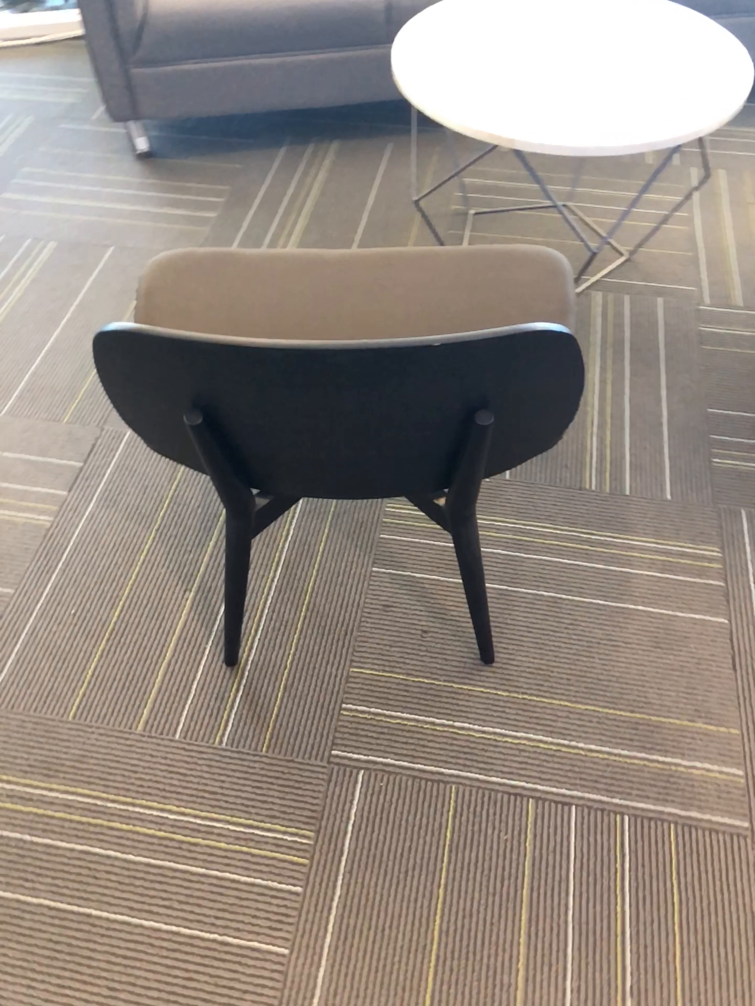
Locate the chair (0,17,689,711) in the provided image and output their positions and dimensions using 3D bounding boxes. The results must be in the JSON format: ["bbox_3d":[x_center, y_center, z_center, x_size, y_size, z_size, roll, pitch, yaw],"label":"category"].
[{"bbox_3d":[-0.048,-0.196,1.295,0.670,0.737,0.743,-2,51,0],"label":"chair"}]
